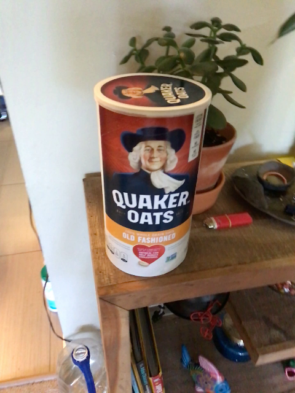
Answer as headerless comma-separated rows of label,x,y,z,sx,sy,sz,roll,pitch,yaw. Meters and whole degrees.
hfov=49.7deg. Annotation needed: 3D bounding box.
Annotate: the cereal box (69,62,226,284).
cereal box,-0.006,-0.023,0.414,0.140,0.248,0.141,0,37,-3
